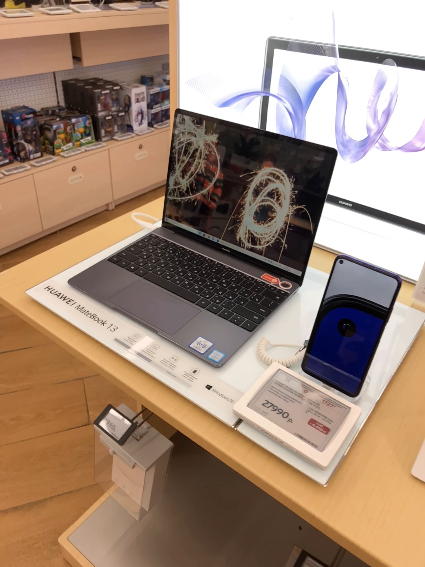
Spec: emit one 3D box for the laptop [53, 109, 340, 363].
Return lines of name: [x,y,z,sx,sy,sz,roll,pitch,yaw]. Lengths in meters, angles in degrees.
laptop: [-0.021,-0.091,0.658,0.275,0.192,0.245,25,42,28]
